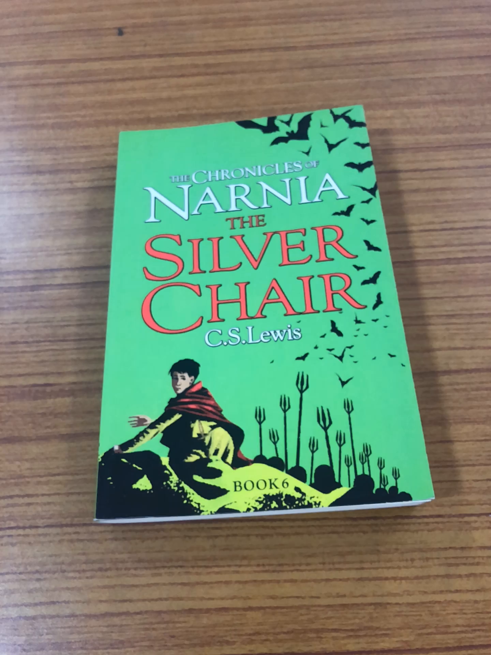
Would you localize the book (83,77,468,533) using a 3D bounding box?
[{"bbox_3d":[0.005,-0.021,0.258,0.140,0.030,0.210,-4,66,2],"label":"book"}]
